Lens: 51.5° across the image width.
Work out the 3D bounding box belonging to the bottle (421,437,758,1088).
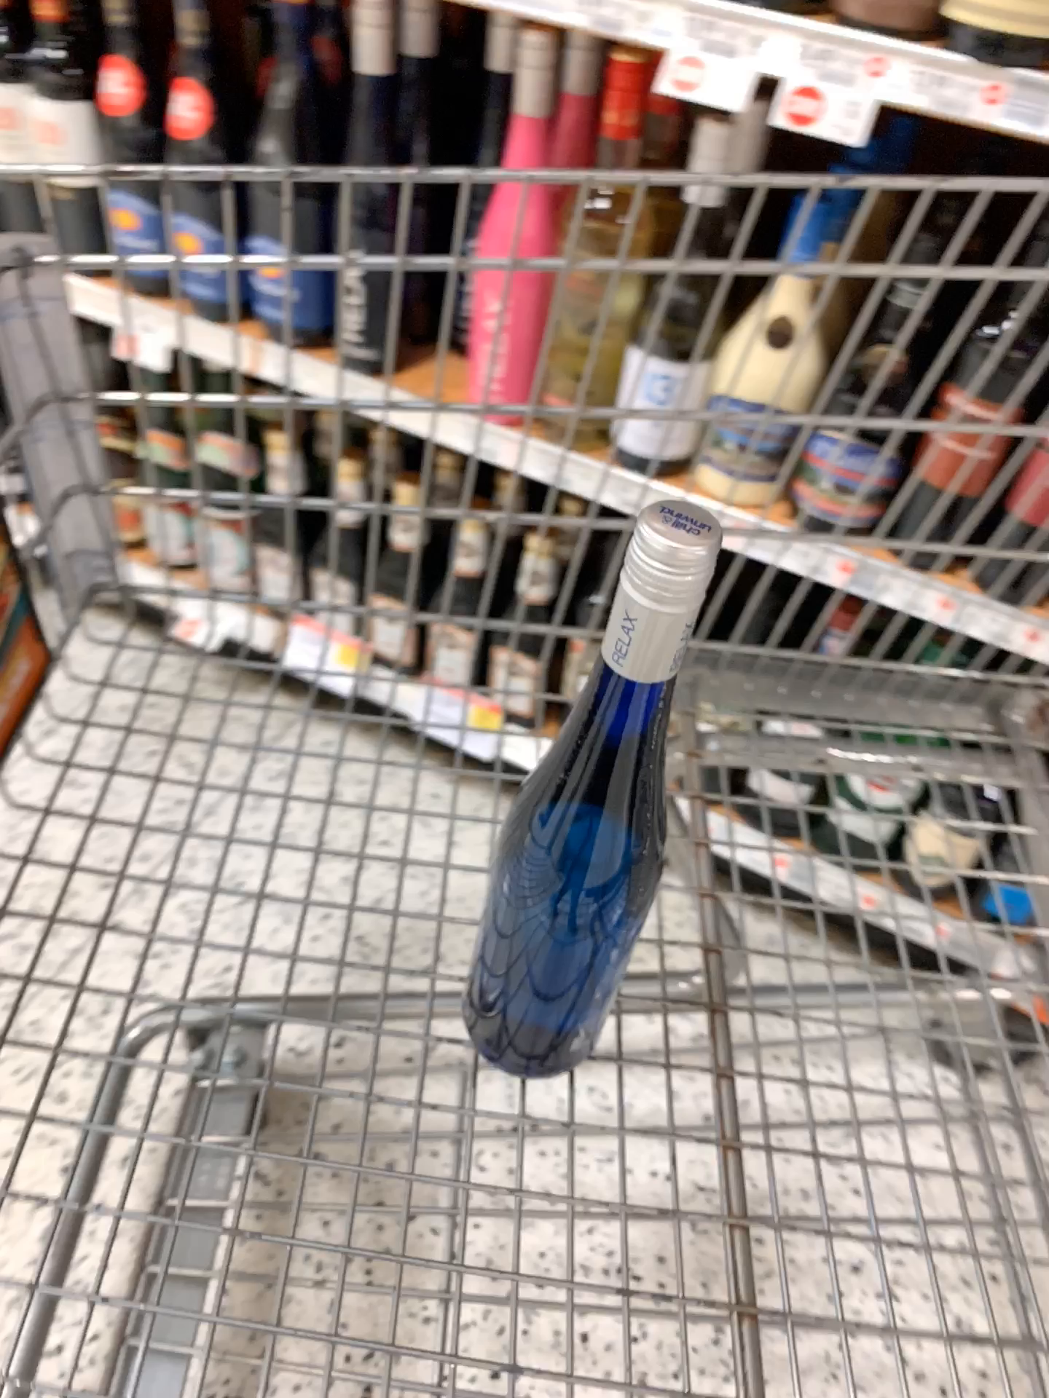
[{"bbox_3d":[0.012,0.050,0.470,0.090,0.307,0.091,4,45,-4],"label":"bottle"}]
